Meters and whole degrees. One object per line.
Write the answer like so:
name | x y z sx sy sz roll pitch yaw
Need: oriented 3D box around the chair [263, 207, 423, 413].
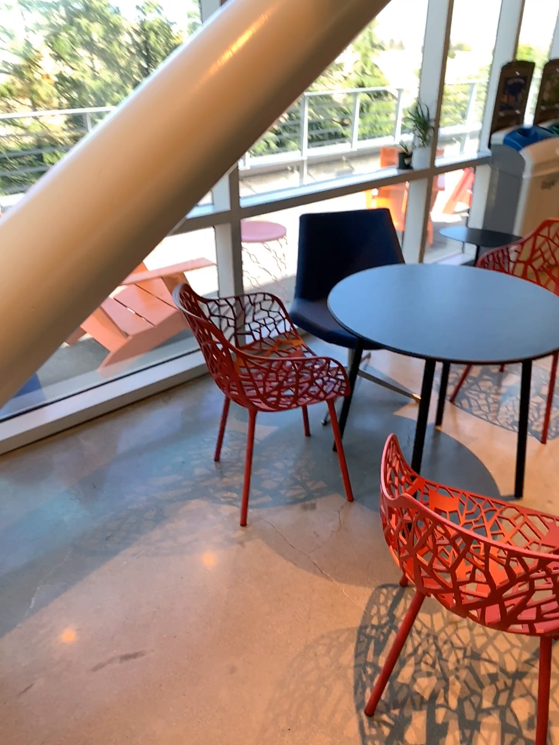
chair | 0.252 -0.305 2.649 0.560 0.765 0.513 -6 30 -10

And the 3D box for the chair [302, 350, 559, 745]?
chair | 0.419 0.454 1.315 0.561 0.765 0.532 13 32 22

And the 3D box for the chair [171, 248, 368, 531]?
chair | -0.063 0.035 2.022 0.530 0.765 0.563 -7 30 -11

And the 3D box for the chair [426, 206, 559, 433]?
chair | 1.103 -0.271 2.583 0.561 0.765 0.552 -24 37 -36
